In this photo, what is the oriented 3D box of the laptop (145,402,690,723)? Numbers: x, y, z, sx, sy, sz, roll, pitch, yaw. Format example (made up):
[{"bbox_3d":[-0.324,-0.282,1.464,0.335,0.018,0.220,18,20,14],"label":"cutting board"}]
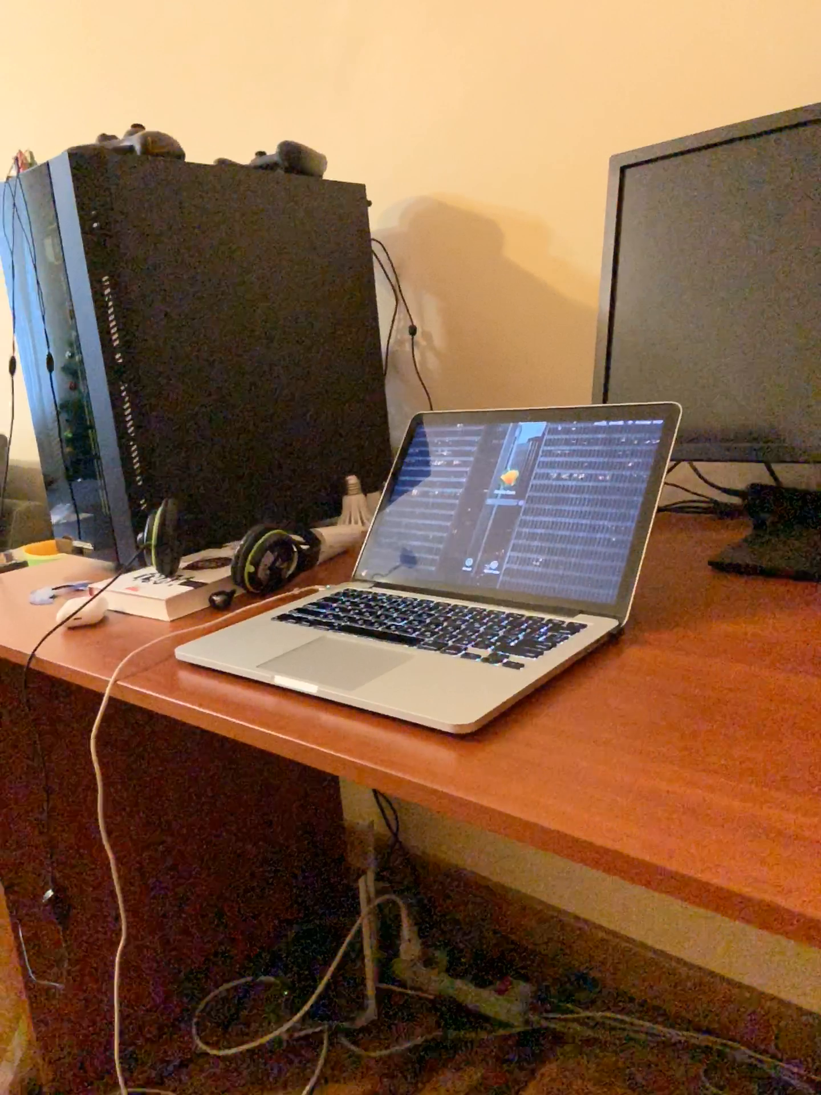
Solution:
[{"bbox_3d":[0.022,-0.020,0.716,0.300,0.155,0.341,6,18,39],"label":"laptop"}]
